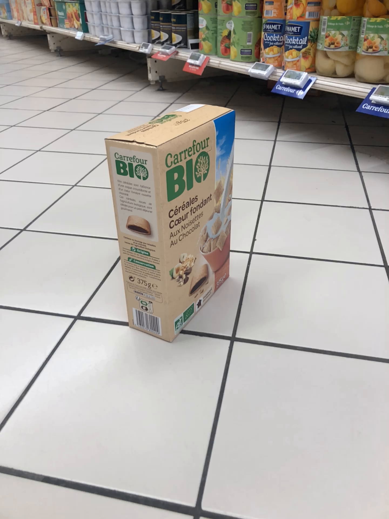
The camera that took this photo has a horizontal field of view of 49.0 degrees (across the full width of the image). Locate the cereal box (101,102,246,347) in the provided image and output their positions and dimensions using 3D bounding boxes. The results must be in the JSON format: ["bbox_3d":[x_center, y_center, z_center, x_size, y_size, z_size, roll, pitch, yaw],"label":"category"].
[{"bbox_3d":[-0.012,-0.047,0.503,0.070,0.229,0.171,16,35,26],"label":"cereal box"}]
